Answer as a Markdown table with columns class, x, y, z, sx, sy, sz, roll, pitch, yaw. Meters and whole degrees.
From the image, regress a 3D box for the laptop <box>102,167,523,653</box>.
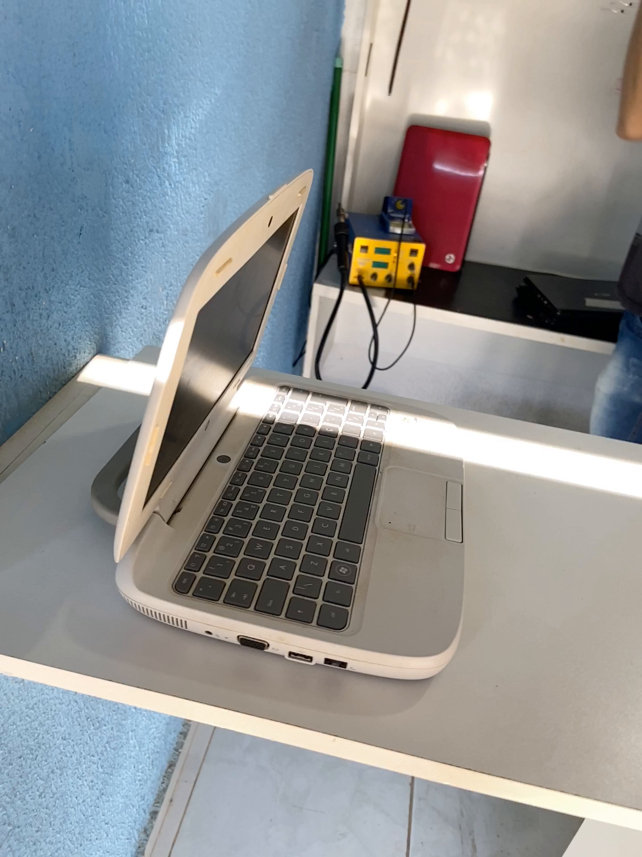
| class | x | y | z | sx | sy | sz | roll | pitch | yaw |
| --- | --- | --- | --- | --- | --- | --- | --- | --- | --- |
| laptop | 0.009 | -0.036 | 0.419 | 0.177 | 0.172 | 0.249 | 12 | 32 | 5 |
